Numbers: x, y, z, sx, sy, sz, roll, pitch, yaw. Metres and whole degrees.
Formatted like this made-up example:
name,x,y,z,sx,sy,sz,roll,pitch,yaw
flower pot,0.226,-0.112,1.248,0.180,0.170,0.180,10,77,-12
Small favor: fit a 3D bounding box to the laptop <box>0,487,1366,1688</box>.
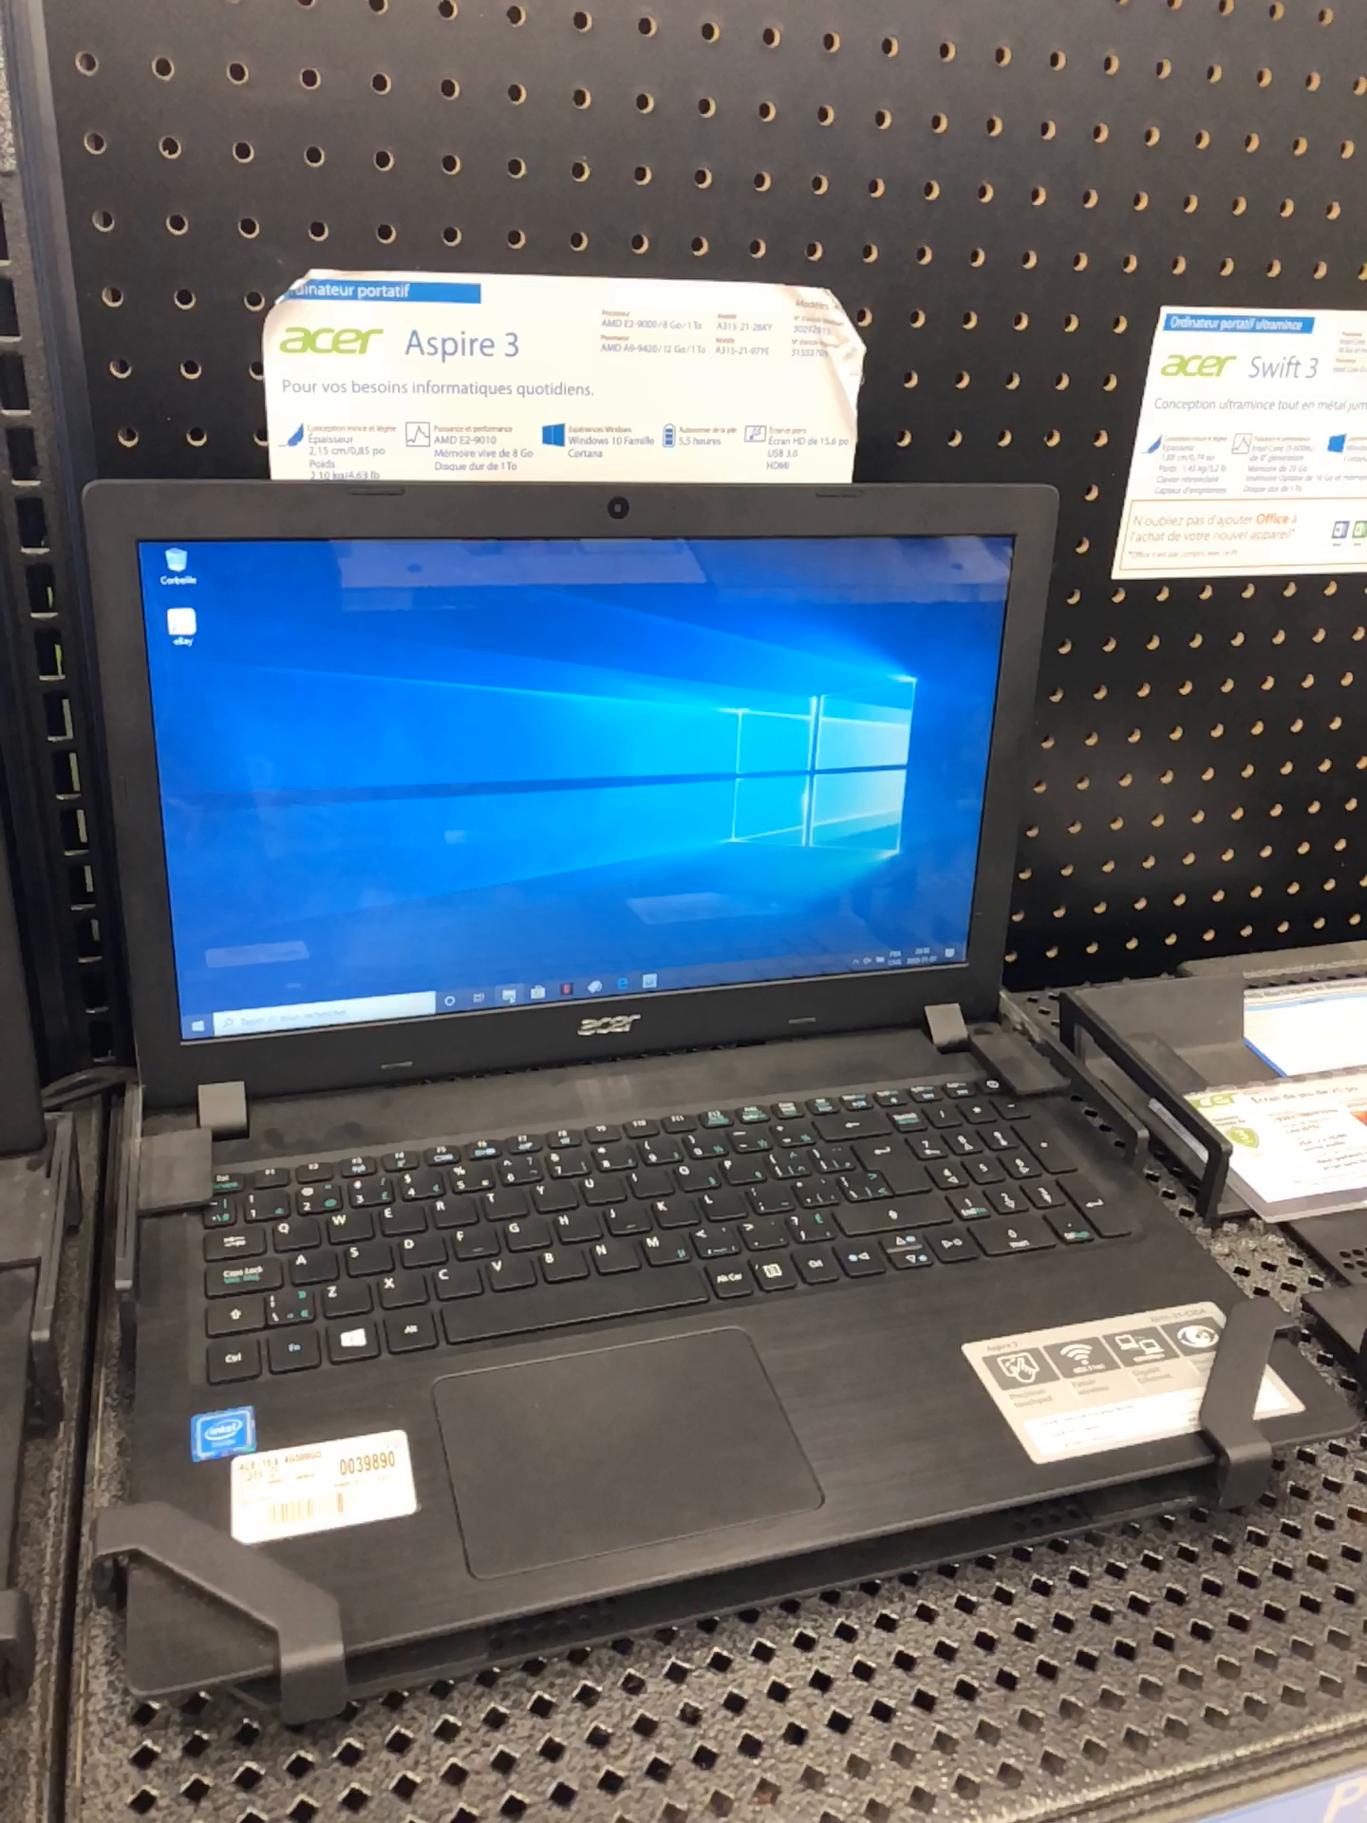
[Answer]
name,x,y,z,sx,sy,sz,roll,pitch,yaw
laptop,0.005,0.011,0.520,0.386,0.247,0.296,-5,27,-16
